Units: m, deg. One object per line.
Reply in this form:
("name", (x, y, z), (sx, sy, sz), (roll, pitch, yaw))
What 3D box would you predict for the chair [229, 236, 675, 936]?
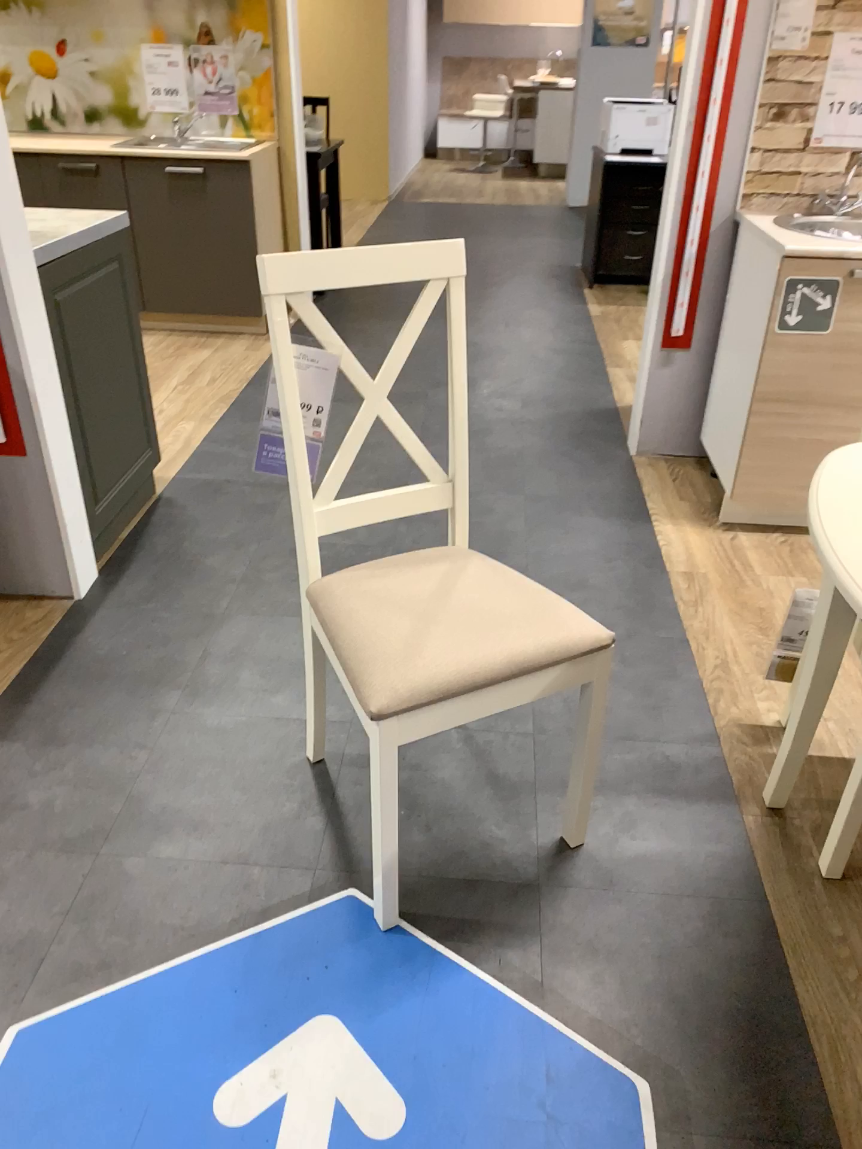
("chair", (-0.008, 0.005, 1.503), (0.436, 0.989, 0.530), (-14, 34, -24))
